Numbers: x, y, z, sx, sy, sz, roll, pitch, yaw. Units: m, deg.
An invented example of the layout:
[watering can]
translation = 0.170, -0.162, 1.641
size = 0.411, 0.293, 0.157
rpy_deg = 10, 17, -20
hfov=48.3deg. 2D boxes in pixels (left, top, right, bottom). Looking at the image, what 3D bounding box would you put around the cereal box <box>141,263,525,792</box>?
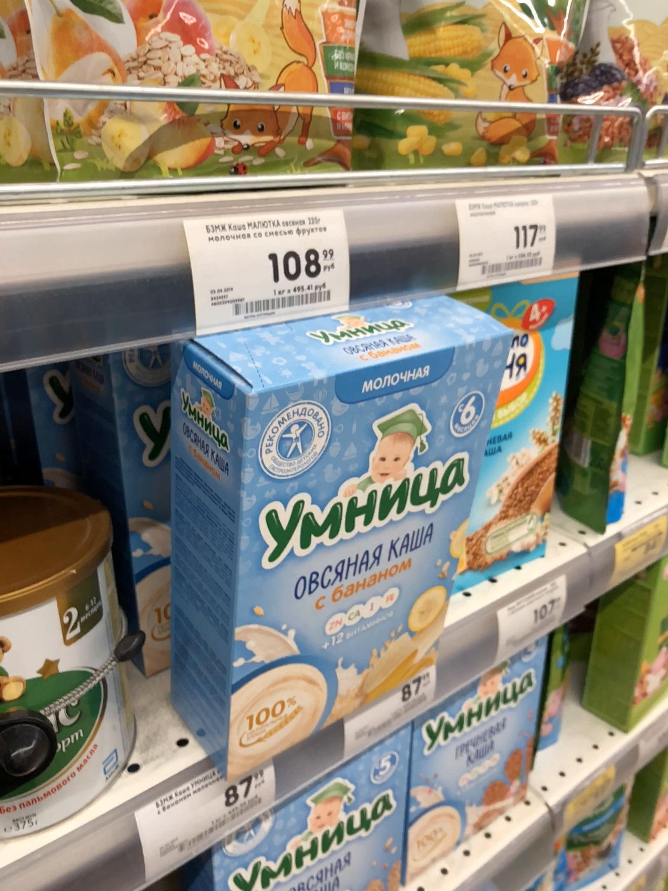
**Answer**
[cereal box]
translation = -0.004, 0.034, 0.350
size = 0.150, 0.209, 0.060
rpy_deg = -17, 36, -35
